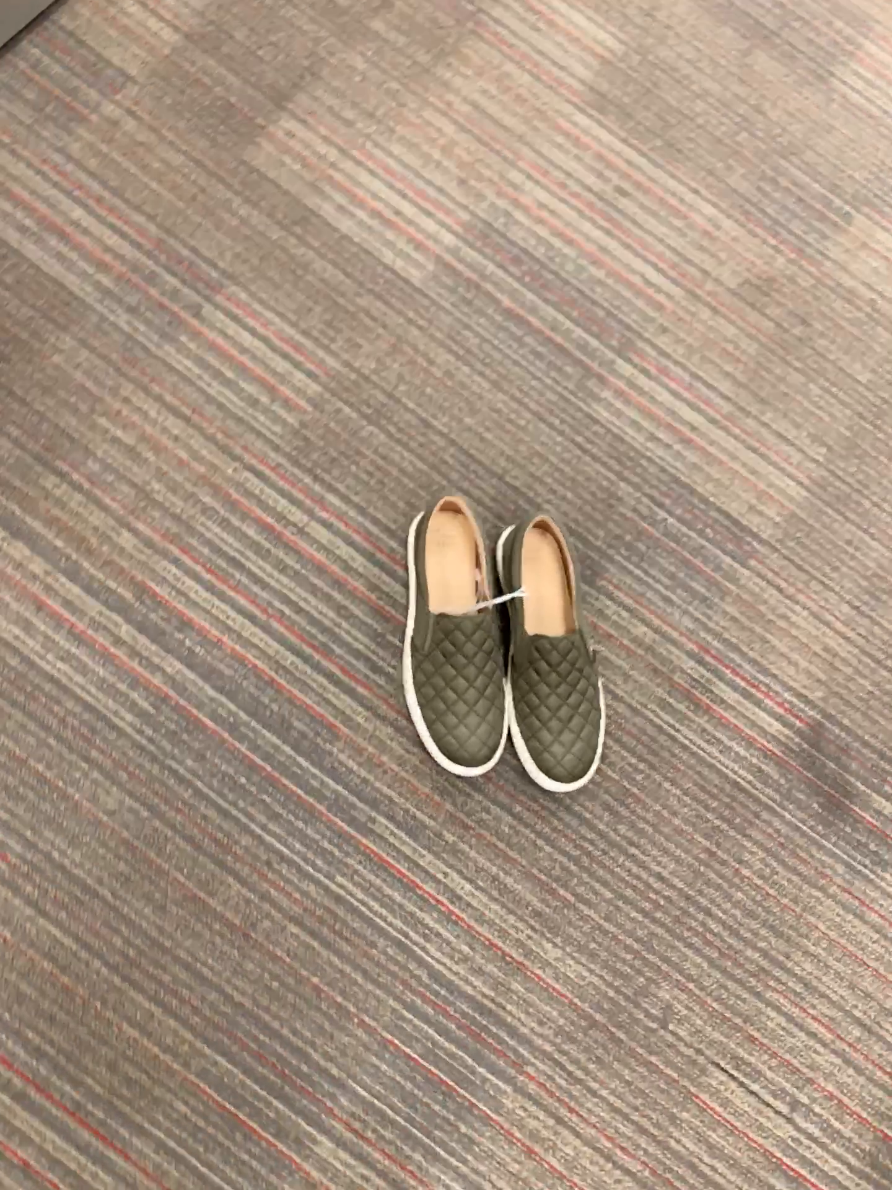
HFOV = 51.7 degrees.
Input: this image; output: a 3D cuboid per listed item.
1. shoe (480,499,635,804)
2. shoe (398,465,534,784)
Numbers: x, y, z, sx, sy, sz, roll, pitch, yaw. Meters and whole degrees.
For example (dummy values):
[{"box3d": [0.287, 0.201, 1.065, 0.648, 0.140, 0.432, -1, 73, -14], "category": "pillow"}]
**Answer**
[{"box3d": [0.108, 0.059, 0.940, 0.100, 0.110, 0.290, -3, 76, -9], "category": "shoe"}, {"box3d": [0.013, 0.033, 0.906, 0.100, 0.130, 0.290, -1, 76, -9], "category": "shoe"}]
